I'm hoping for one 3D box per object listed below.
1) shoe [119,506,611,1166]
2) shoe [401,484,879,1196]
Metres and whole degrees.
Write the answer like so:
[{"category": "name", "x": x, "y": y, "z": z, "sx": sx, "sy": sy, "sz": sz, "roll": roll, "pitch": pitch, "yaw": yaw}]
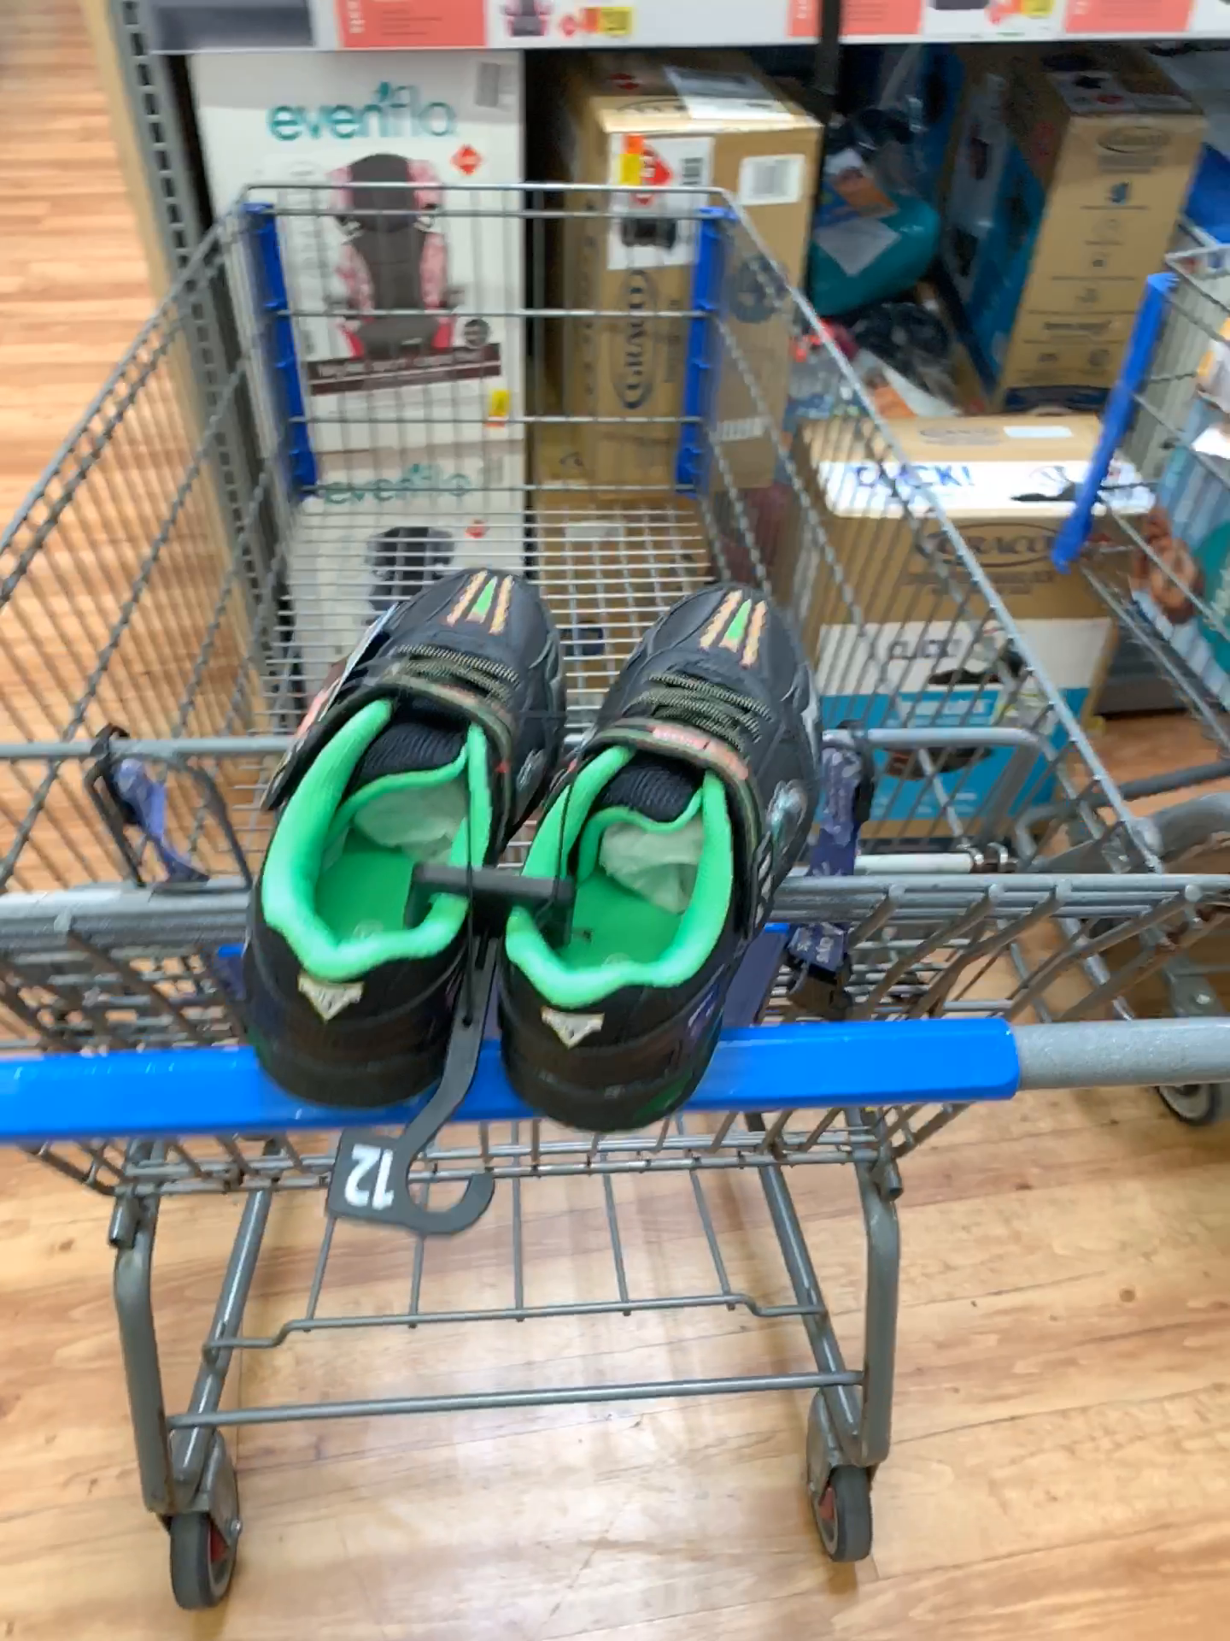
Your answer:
[{"category": "shoe", "x": -0.065, "y": -0.005, "z": 0.416, "sx": 0.095, "sy": 0.093, "sz": 0.195, "roll": 8, "pitch": 47, "yaw": 5}, {"category": "shoe", "x": 0.018, "y": -0.007, "z": 0.405, "sx": 0.089, "sy": 0.086, "sz": 0.214, "roll": 13, "pitch": 47, "yaw": 10}]
